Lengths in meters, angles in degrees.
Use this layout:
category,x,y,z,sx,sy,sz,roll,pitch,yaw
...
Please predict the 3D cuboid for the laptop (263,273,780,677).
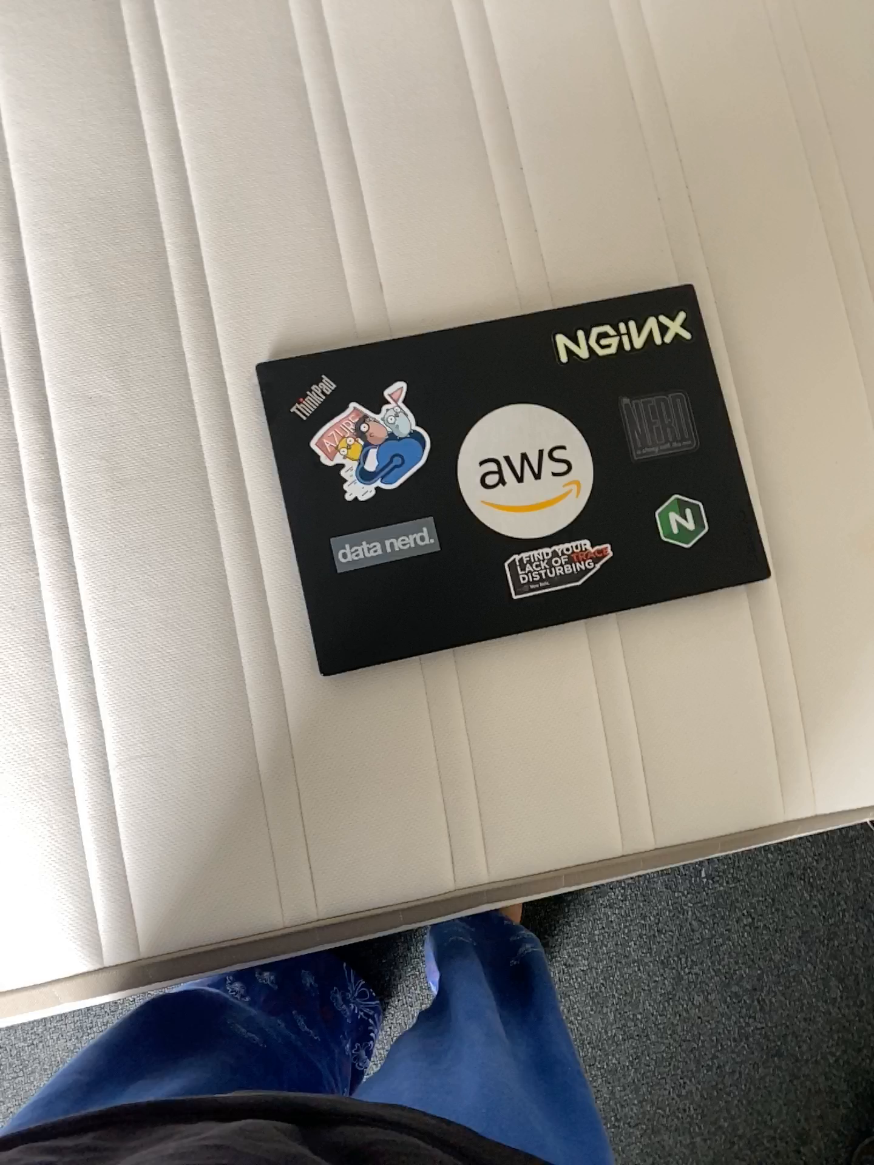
category,x,y,z,sx,sy,sz,roll,pitch,yaw
laptop,0.056,-0.081,0.623,0.322,0.014,0.224,-12,80,-4
